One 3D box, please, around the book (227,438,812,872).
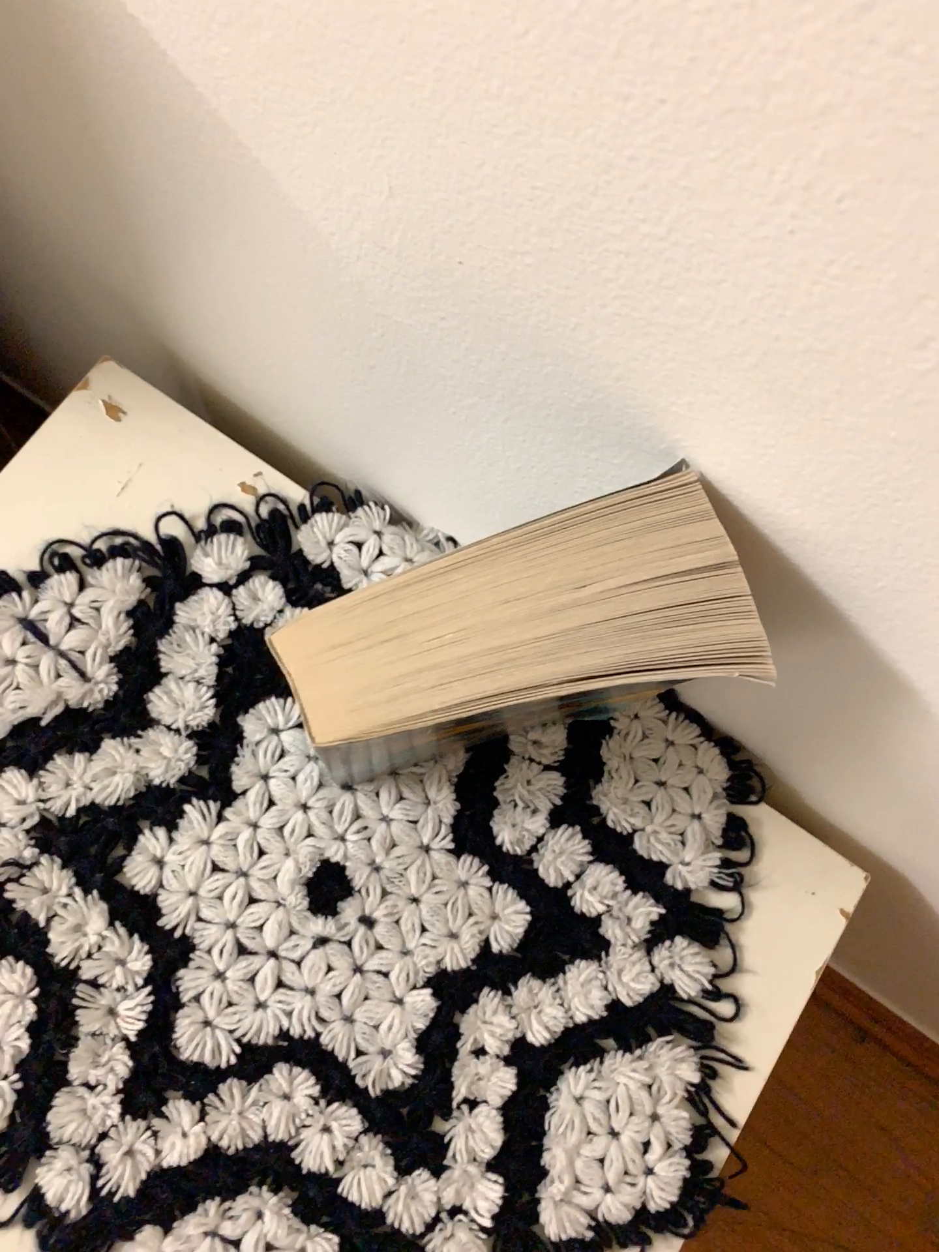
[{"bbox_3d":[0.007,0.024,0.342,0.142,0.178,0.068,-19,76,-11],"label":"book"}]
